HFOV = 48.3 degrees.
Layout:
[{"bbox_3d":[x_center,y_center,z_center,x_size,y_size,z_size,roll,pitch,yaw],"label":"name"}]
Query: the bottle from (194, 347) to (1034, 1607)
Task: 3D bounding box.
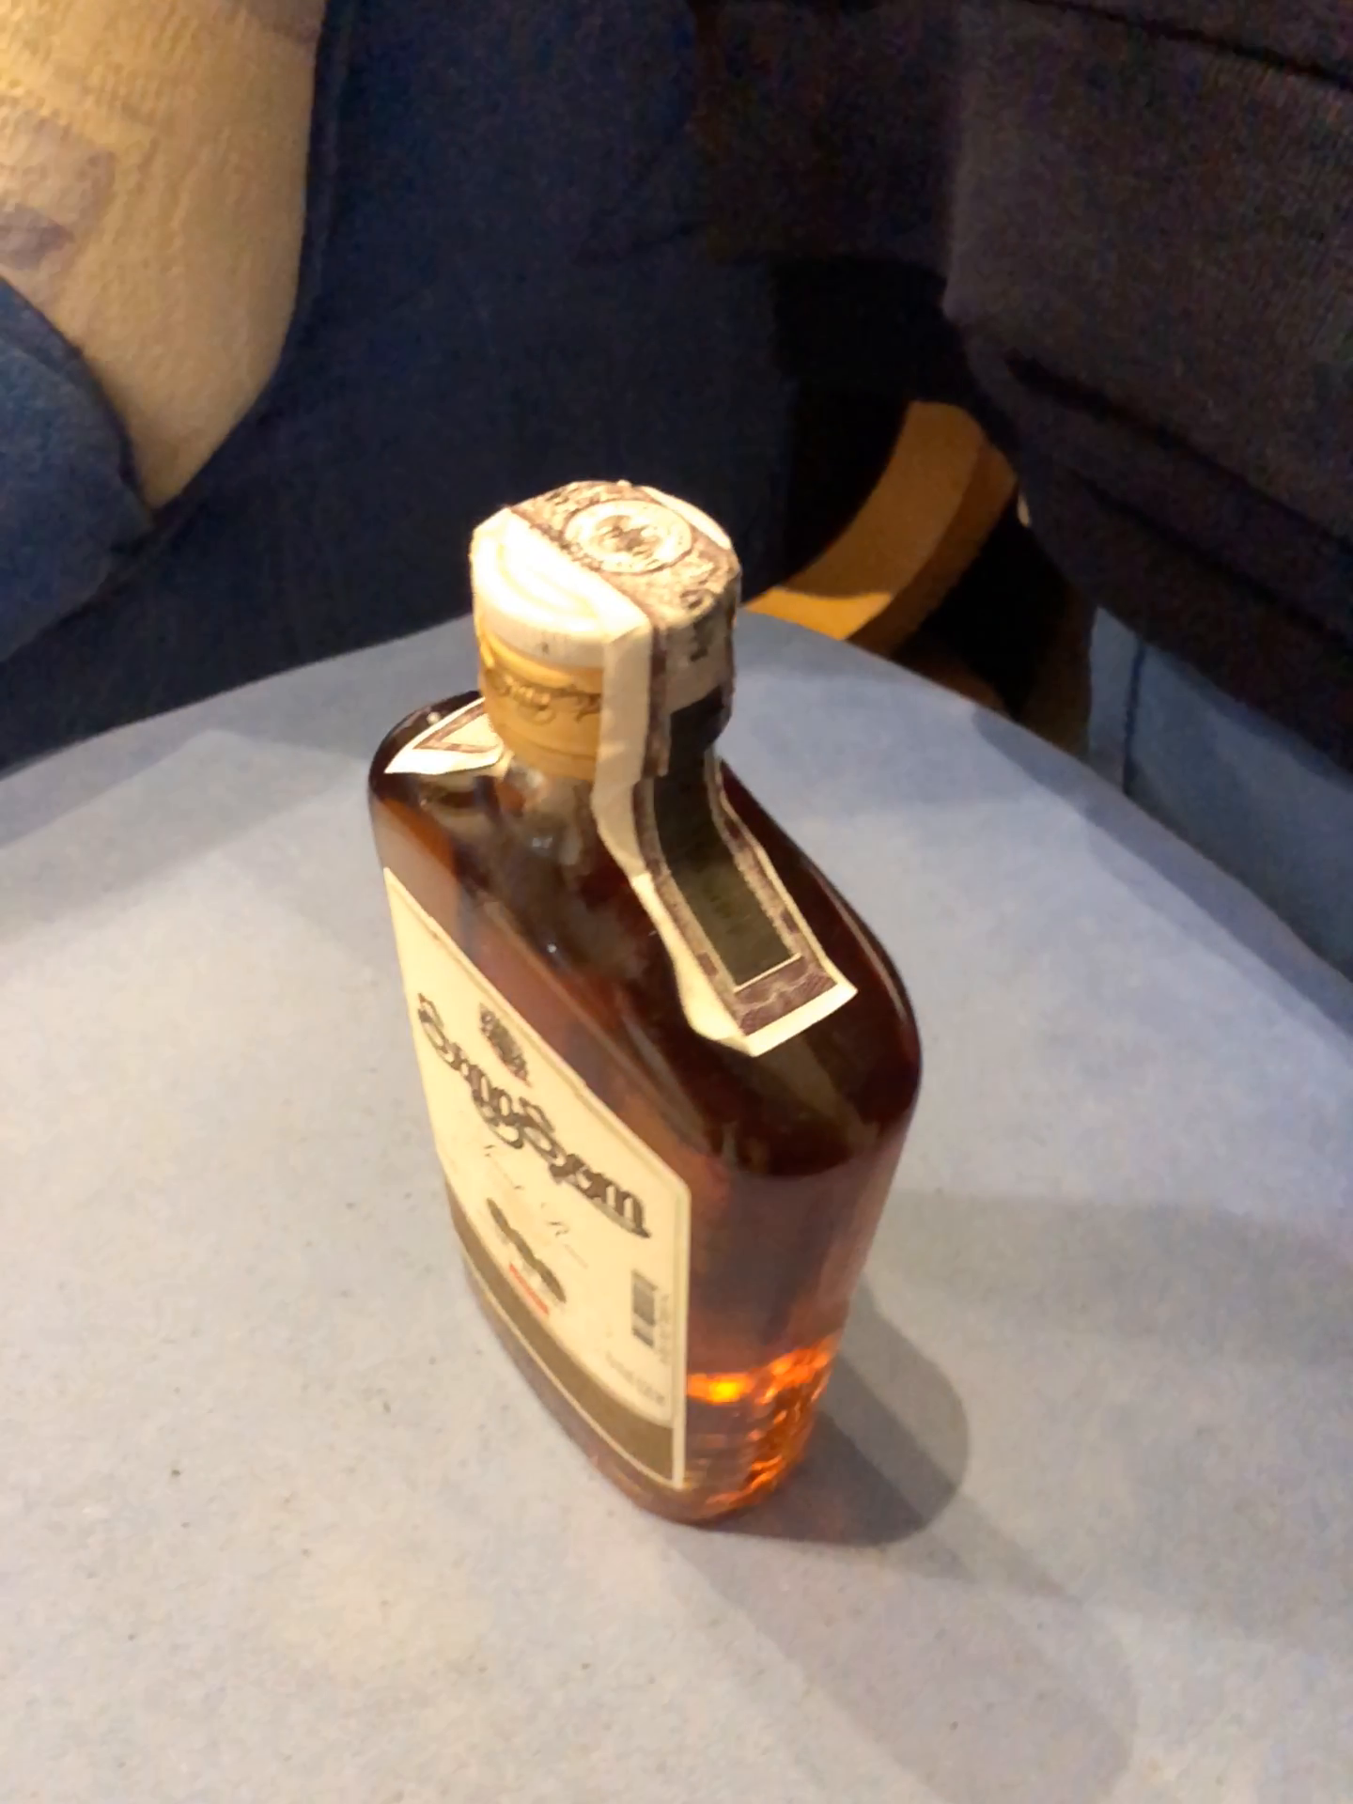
[{"bbox_3d":[-0.008,0.026,0.223,0.041,0.179,0.090,-32,55,-23],"label":"bottle"}]
